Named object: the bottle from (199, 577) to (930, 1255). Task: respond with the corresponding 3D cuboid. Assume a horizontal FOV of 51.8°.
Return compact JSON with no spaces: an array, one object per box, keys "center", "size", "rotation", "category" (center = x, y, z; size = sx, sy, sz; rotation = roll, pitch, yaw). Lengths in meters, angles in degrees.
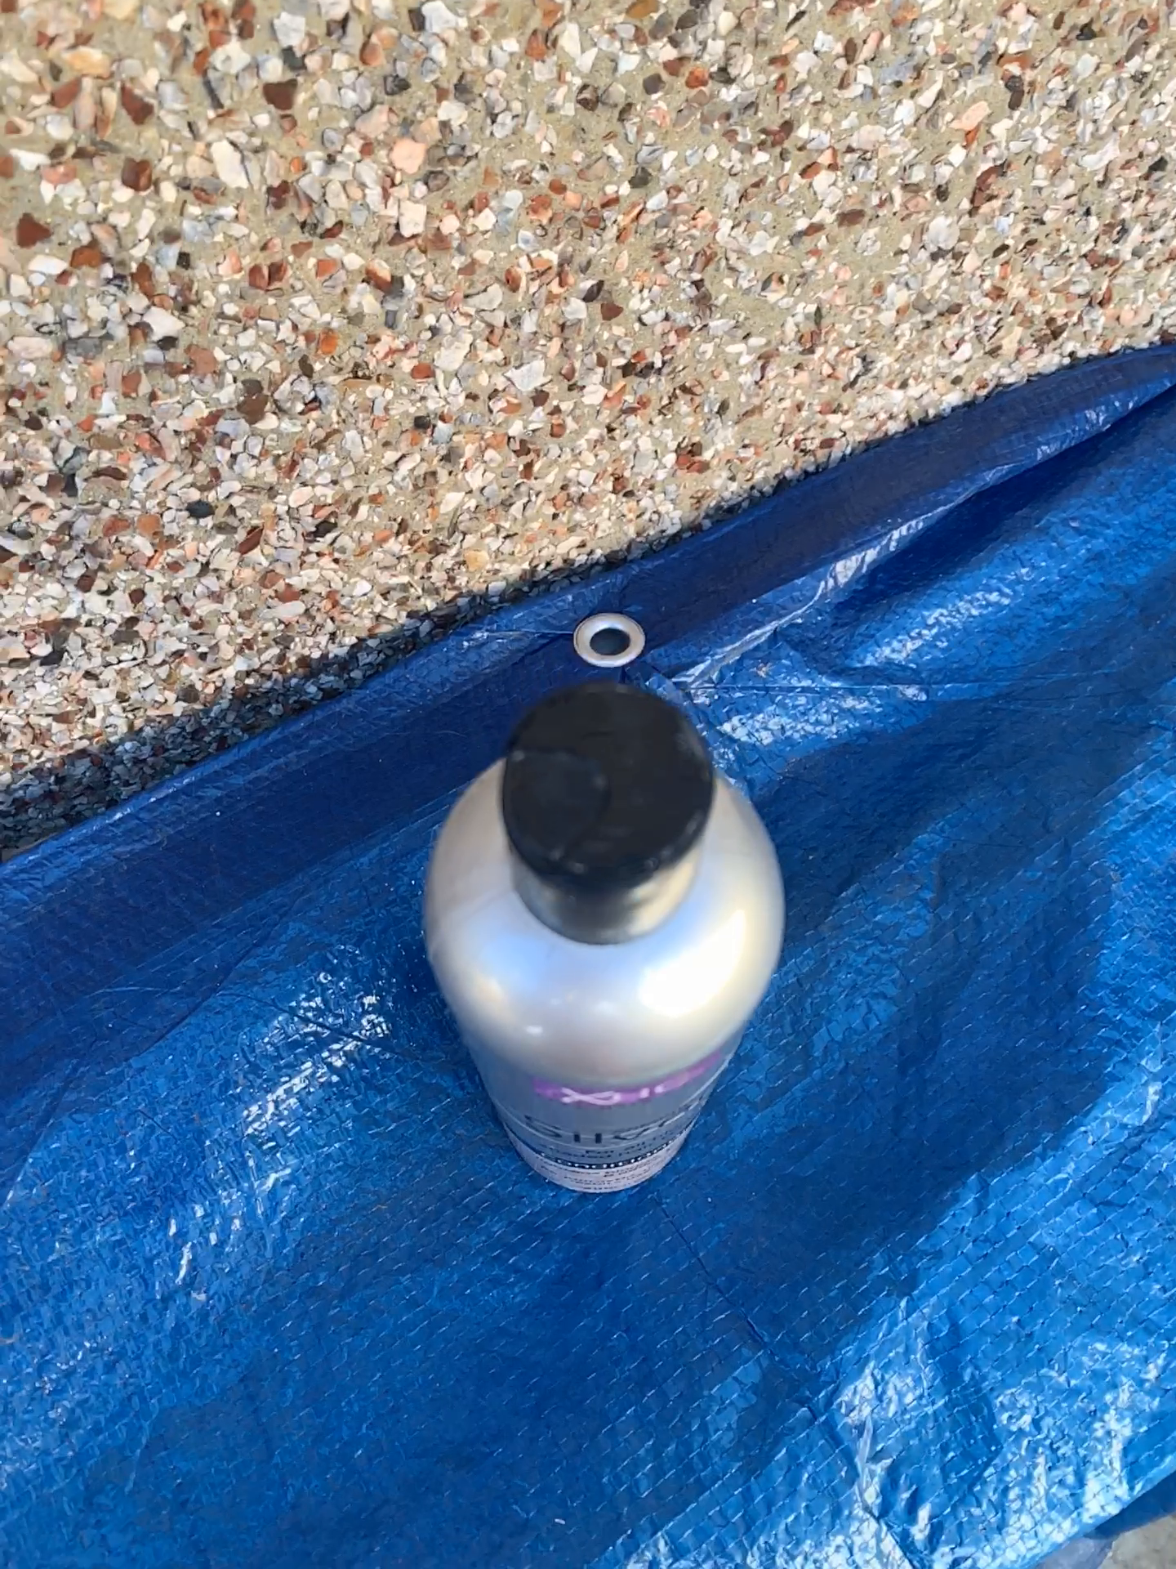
[{"center":[-0.003,0.046,0.223],"size":[0.070,0.199,0.060],"rotation":[-10,68,-3],"category":"bottle"}]
